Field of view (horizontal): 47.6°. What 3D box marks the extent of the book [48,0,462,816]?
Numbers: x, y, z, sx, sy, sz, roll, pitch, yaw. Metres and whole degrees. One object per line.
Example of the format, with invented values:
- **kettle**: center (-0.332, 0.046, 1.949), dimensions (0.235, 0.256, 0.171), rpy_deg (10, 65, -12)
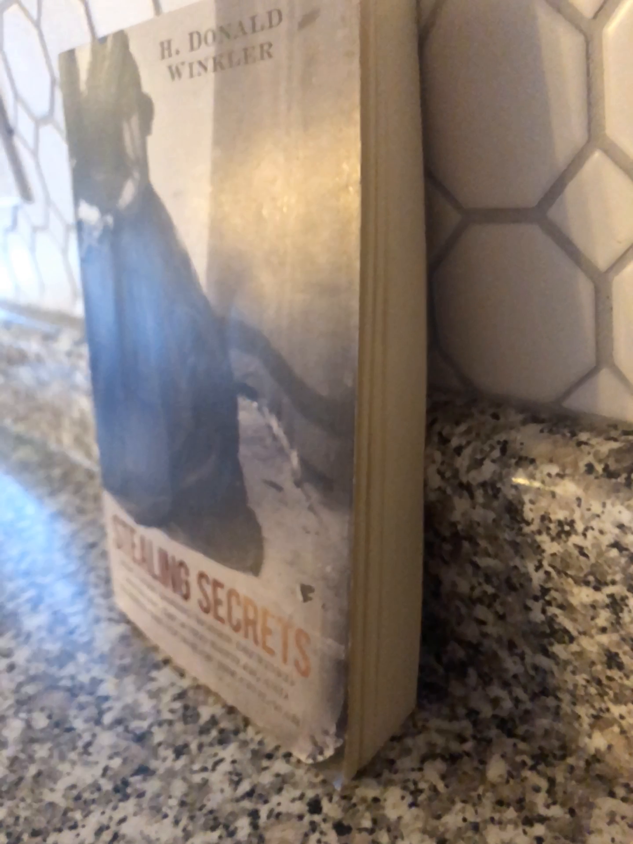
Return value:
- **book**: center (-0.029, -0.015, 0.250), dimensions (0.041, 0.225, 0.162), rpy_deg (-14, 19, -39)
